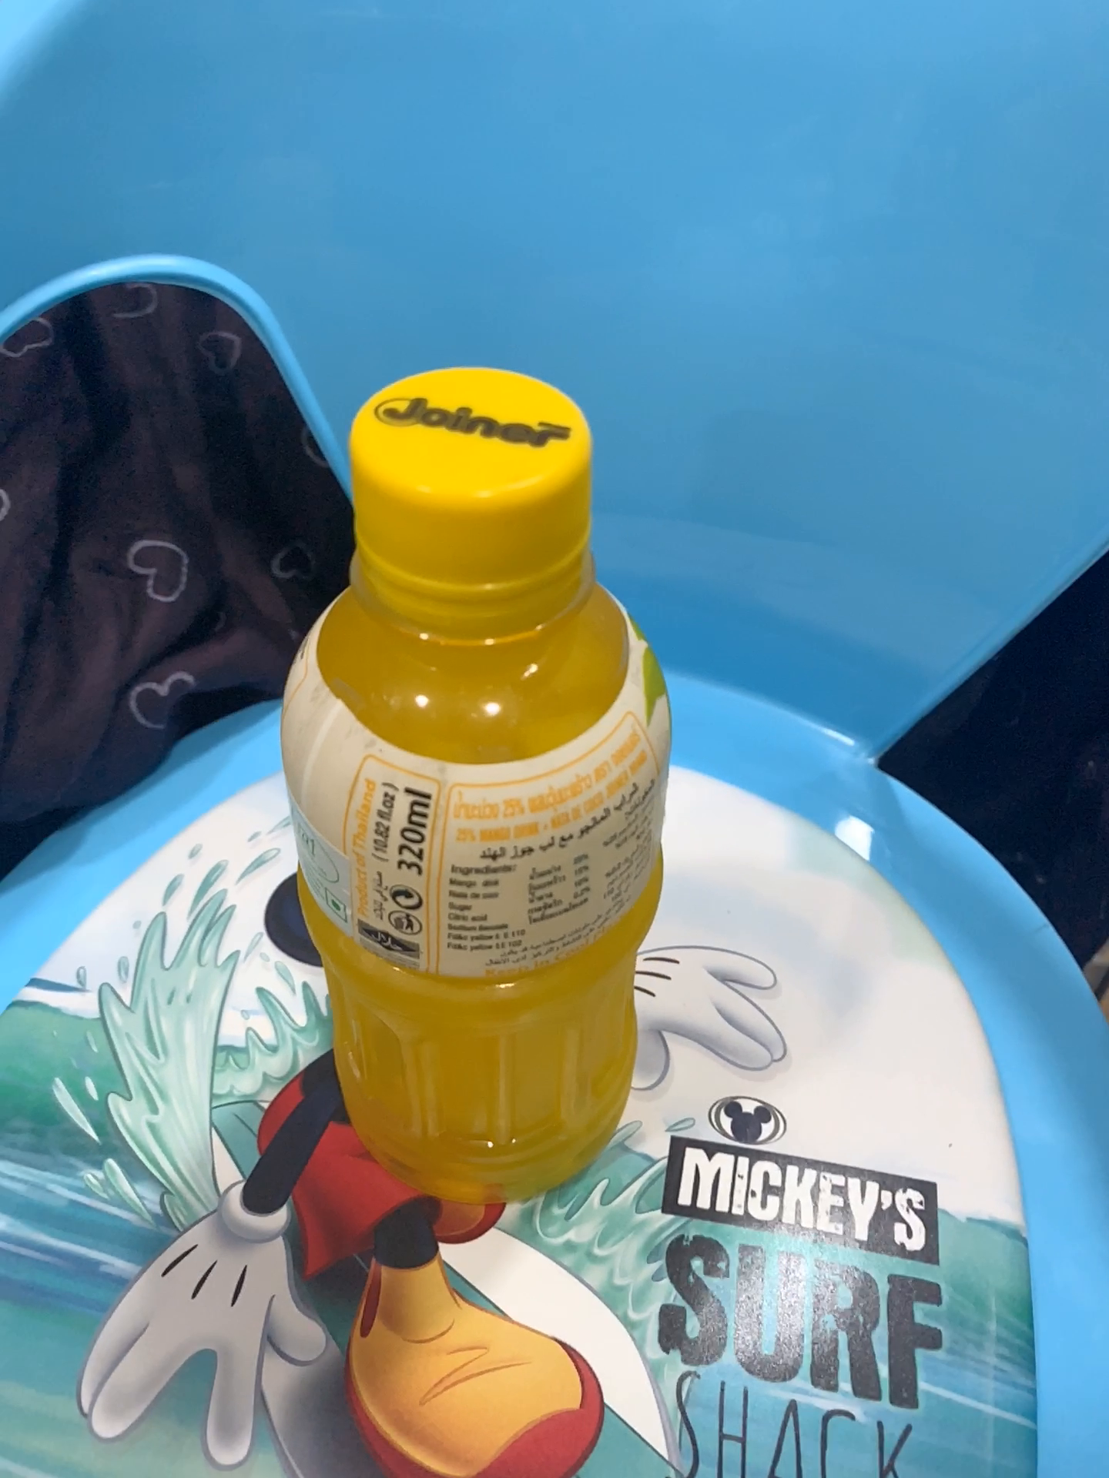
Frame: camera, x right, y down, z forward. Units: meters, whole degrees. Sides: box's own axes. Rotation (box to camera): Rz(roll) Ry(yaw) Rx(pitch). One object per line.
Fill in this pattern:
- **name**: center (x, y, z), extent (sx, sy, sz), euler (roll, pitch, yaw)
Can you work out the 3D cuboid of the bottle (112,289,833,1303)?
- **bottle**: center (-0.012, 0.015, 0.181), extent (0.060, 0.139, 0.060), euler (1, 41, -1)
